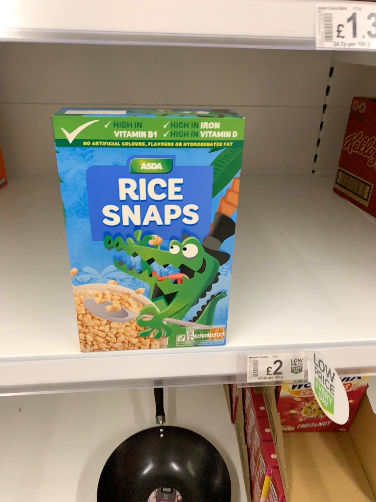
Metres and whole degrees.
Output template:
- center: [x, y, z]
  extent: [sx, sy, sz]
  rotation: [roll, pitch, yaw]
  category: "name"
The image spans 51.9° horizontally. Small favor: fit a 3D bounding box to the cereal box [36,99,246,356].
- center: [-0.048, -0.018, 0.450]
  extent: [0.190, 0.287, 0.071]
  rotation: [-2, 28, -7]
  category: "cereal box"
